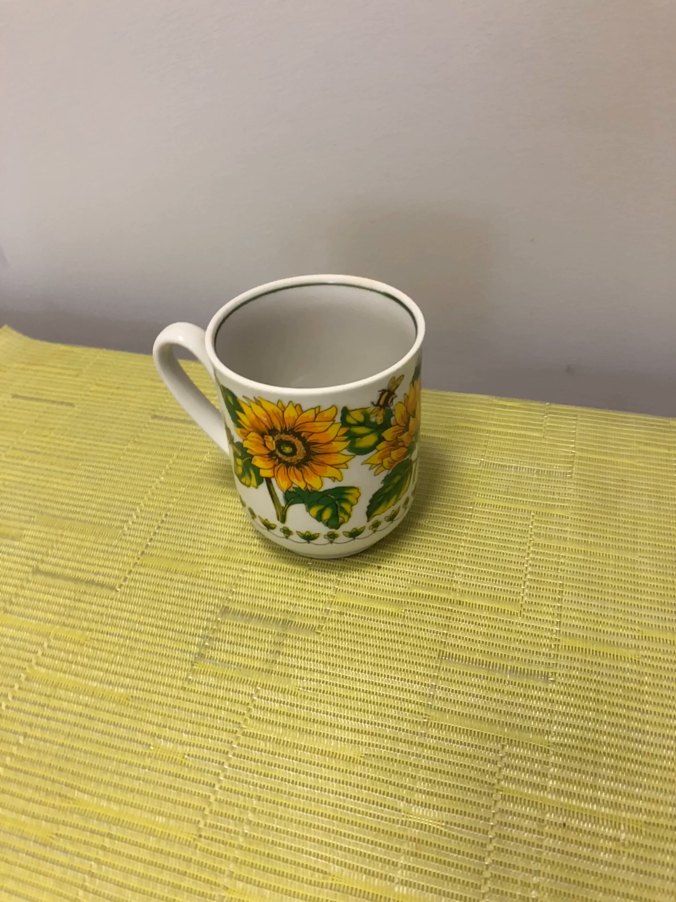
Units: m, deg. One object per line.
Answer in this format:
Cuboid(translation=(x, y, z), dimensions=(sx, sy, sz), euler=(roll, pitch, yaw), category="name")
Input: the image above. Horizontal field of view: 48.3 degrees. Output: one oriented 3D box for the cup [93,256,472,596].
Cuboid(translation=(-0.016, -0.016, 0.308), dimensions=(0.116, 0.084, 0.088), euler=(12, 40, 18), category="cup")
